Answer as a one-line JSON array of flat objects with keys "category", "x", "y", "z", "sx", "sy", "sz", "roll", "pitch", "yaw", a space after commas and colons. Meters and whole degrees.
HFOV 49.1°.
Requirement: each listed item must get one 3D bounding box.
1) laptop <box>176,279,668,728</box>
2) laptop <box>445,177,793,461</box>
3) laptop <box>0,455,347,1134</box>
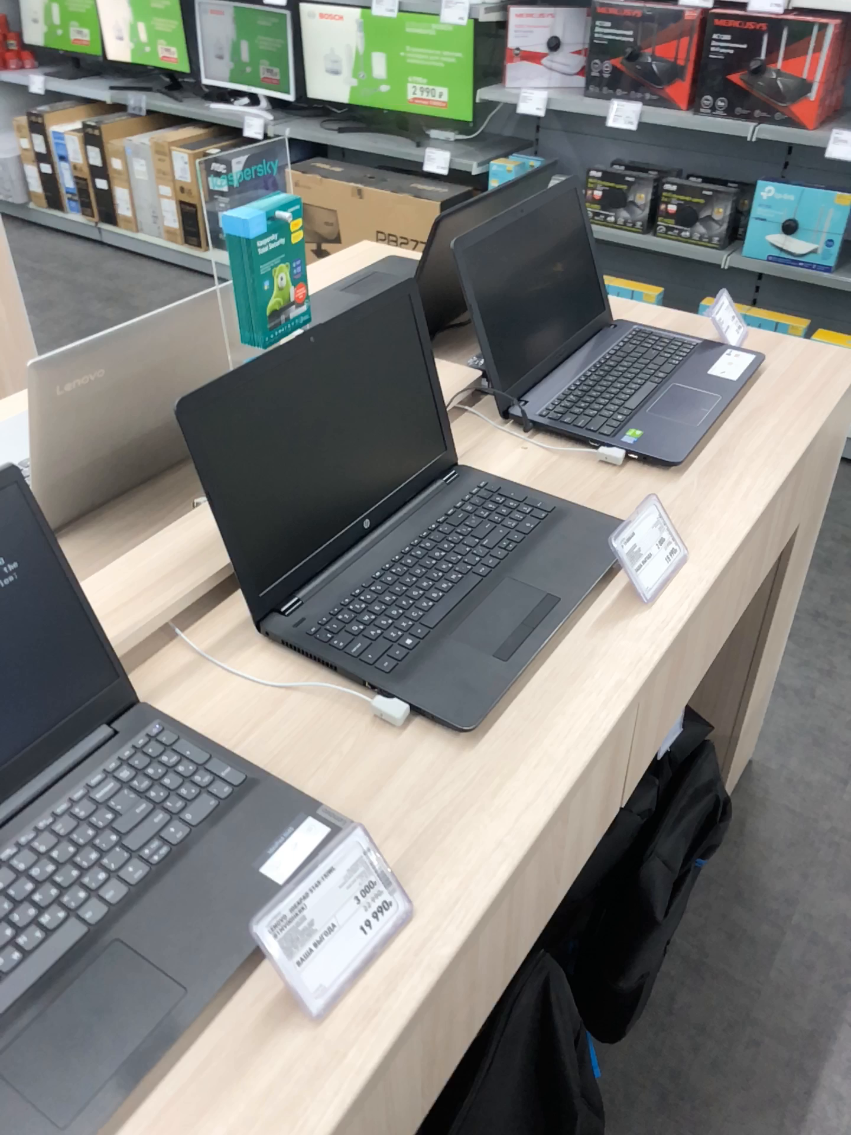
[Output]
[{"category": "laptop", "x": 0.011, "y": -0.094, "z": 0.933, "sx": 0.312, "sy": 0.216, "sz": 0.368, "roll": 22, "pitch": 42, "yaw": 25}, {"category": "laptop", "x": 0.270, "y": -0.365, "z": 1.297, "sx": 0.334, "sy": 0.209, "sz": 0.370, "roll": 21, "pitch": 41, "yaw": 23}, {"category": "laptop", "x": -0.280, "y": 0.140, "z": 0.612, "sx": 0.327, "sy": 0.213, "sz": 0.333, "roll": 22, "pitch": 41, "yaw": 25}]
